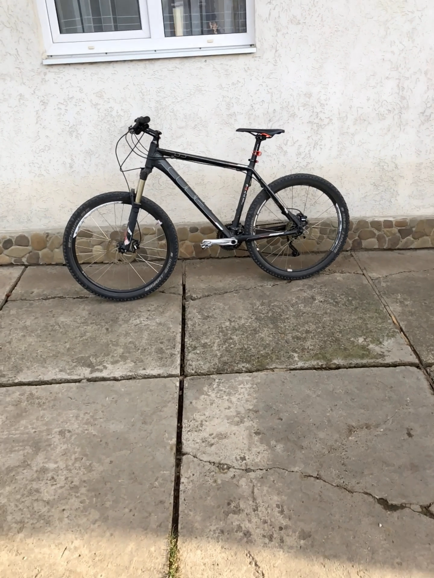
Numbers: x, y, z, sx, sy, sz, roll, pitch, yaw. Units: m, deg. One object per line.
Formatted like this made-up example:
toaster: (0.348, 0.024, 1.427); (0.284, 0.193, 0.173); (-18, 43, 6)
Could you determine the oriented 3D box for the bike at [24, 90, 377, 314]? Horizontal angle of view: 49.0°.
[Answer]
bike: (-0.060, -0.573, 2.941); (1.772, 1.090, 0.690); (-5, 29, -6)
